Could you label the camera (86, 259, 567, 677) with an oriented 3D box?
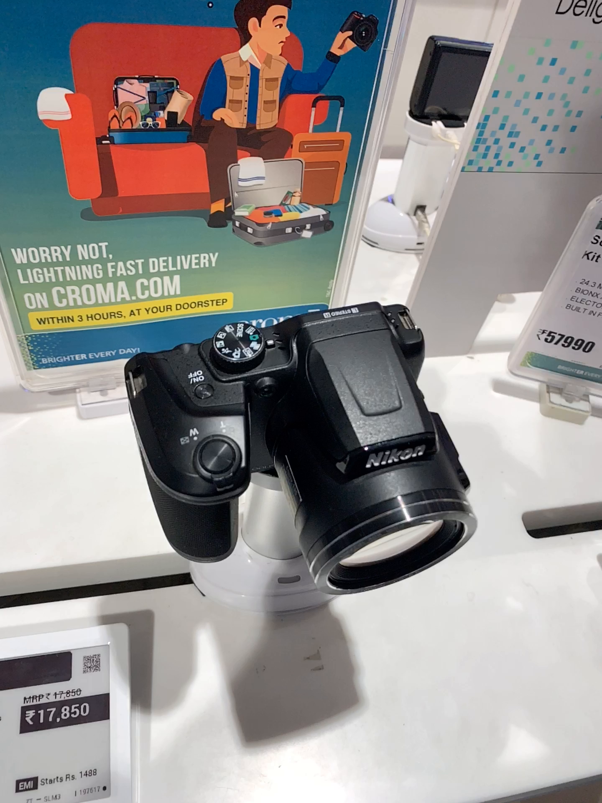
[{"bbox_3d":[0.000,0.018,0.215,0.120,0.080,0.090,-12,52,-18],"label":"camera"}]
